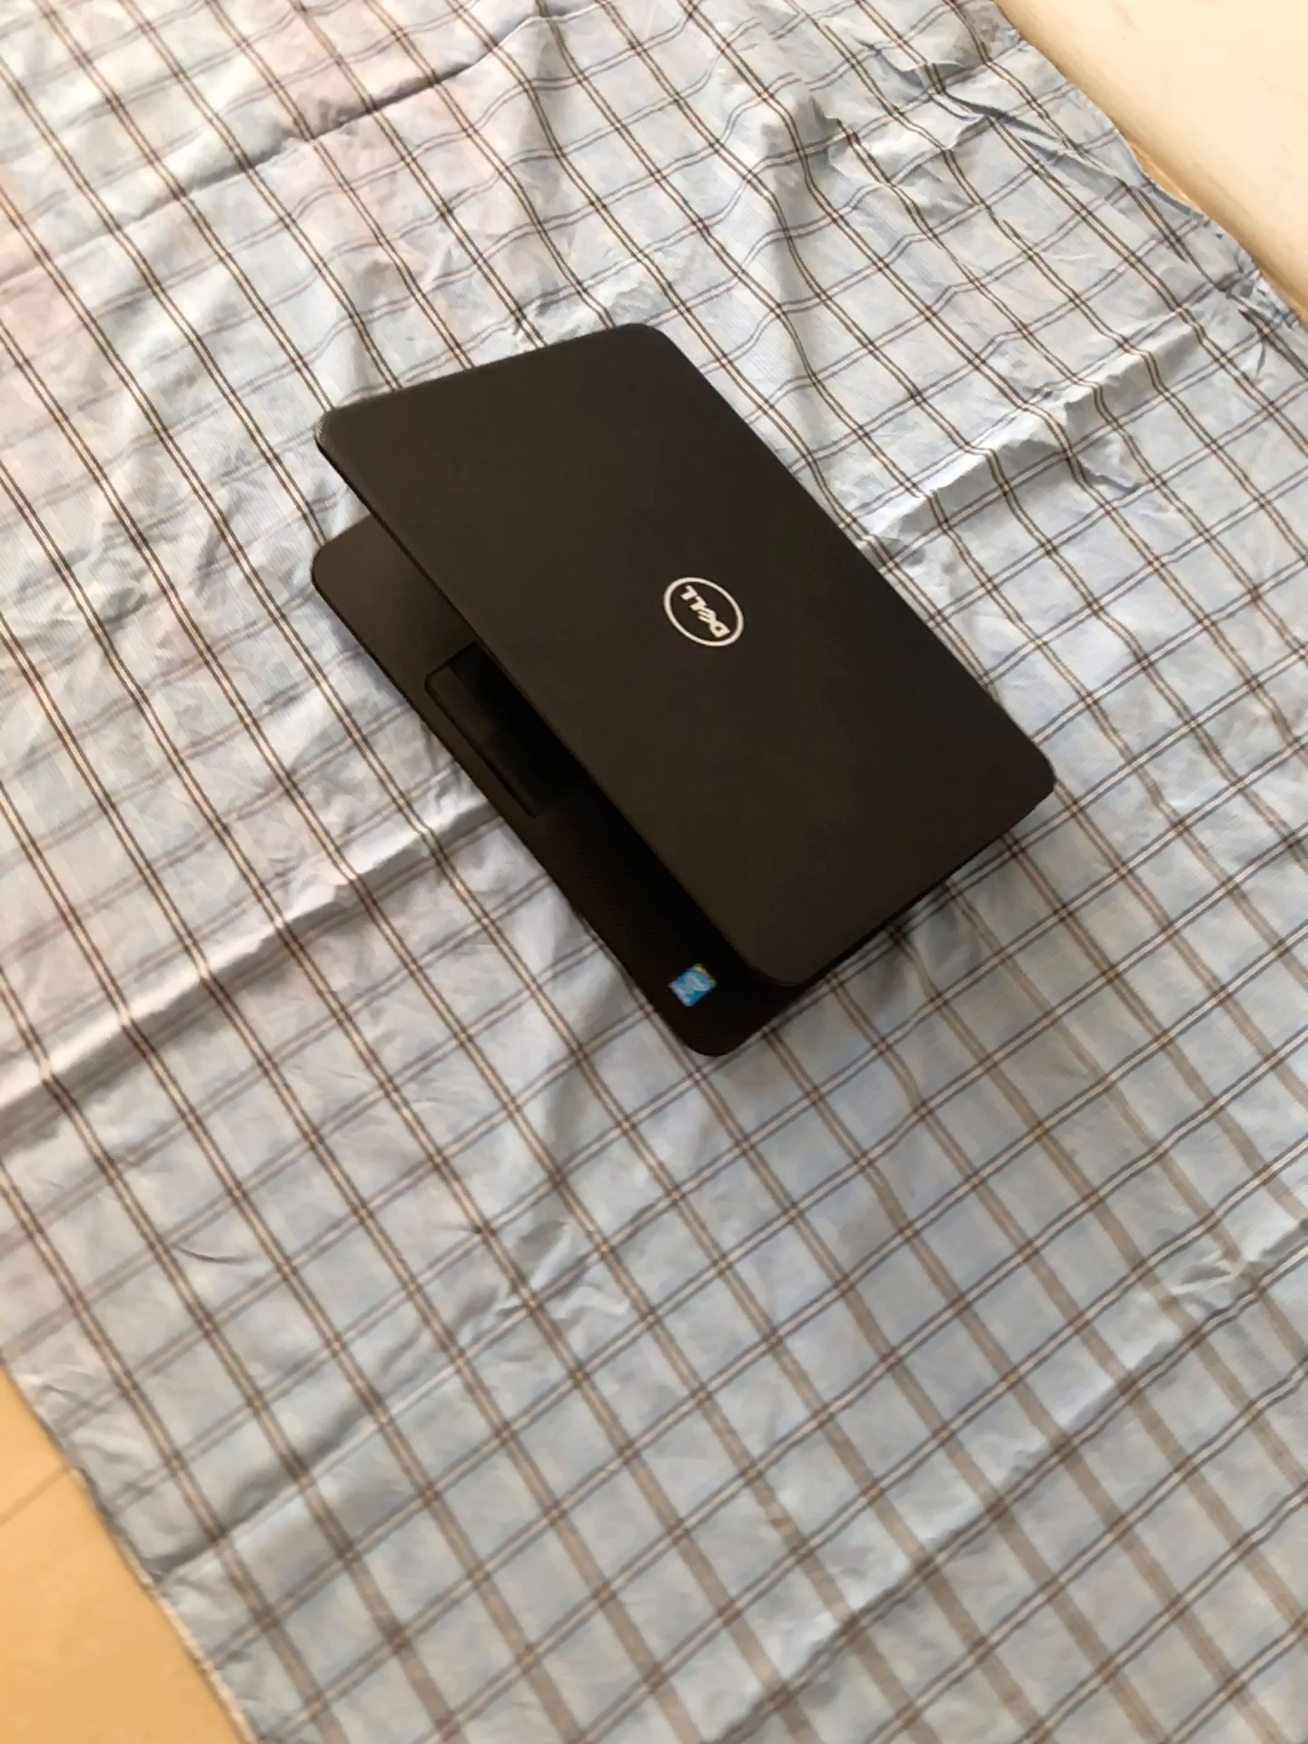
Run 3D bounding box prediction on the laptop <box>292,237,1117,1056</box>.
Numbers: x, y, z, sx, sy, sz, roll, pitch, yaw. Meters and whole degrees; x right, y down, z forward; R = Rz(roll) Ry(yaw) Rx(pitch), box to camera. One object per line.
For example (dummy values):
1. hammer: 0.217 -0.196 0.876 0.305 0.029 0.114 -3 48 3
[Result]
1. laptop: 0.019 -0.117 0.742 0.223 0.099 0.350 -37 80 -11
